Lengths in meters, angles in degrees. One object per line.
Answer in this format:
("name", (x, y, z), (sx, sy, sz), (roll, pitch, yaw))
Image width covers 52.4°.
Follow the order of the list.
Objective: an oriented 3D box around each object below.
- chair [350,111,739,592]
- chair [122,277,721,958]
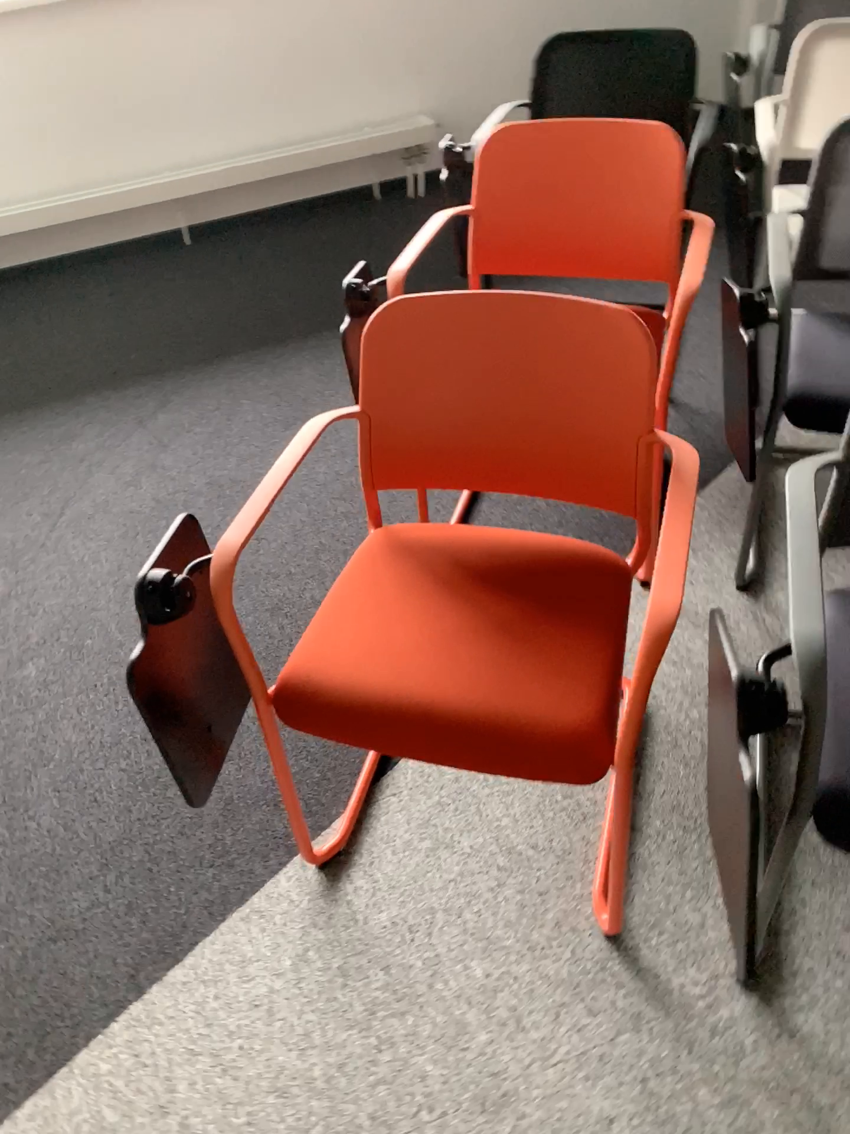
("chair", (0.286, -0.464, 1.846), (0.611, 0.756, 0.603), (7, 44, 16))
("chair", (0.074, 0.069, 1.286), (0.581, 0.766, 0.562), (7, 44, 16))
